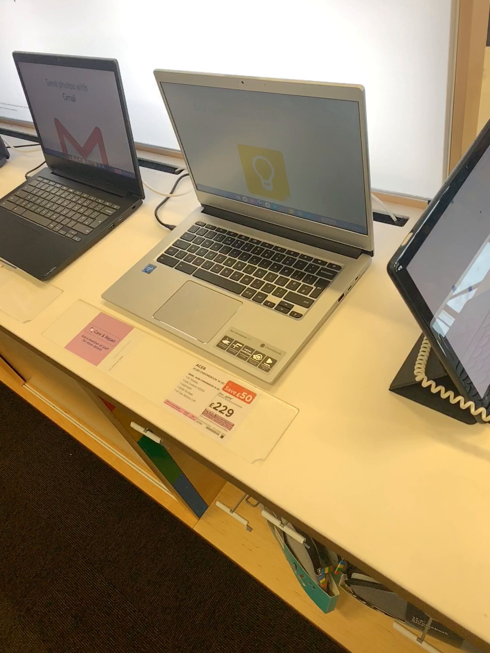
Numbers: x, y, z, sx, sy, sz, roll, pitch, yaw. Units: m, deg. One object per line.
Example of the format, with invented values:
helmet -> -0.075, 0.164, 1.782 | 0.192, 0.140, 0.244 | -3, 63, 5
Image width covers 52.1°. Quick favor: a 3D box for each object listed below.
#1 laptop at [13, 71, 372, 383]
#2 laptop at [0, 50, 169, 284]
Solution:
laptop -> -0.048, -0.139, 0.602 | 0.304, 0.207, 0.237 | 23, 59, 33
laptop -> -0.367, -0.283, 0.846 | 0.309, 0.204, 0.283 | 26, 63, 34
